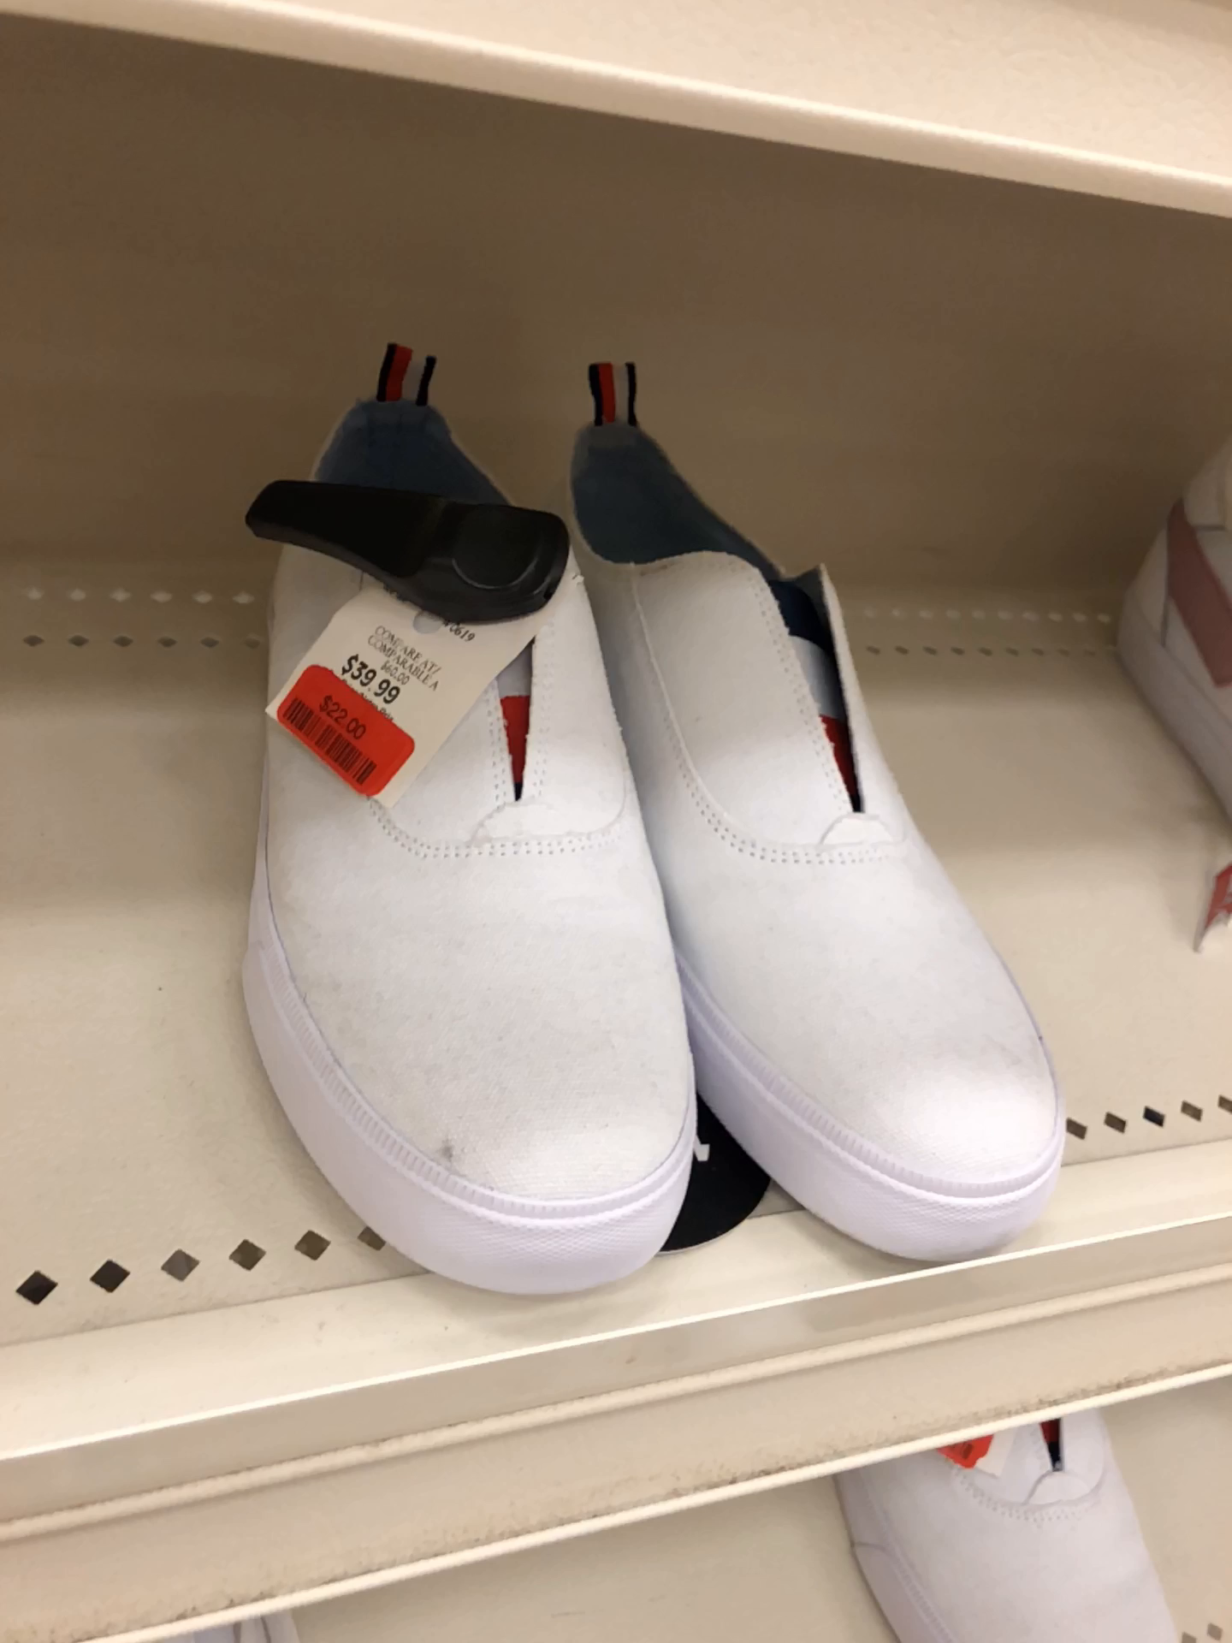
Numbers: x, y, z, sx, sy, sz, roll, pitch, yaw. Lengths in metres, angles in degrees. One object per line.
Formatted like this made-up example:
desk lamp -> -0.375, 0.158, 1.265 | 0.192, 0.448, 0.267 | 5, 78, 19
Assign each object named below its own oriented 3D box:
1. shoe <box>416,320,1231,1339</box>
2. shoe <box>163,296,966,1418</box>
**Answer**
shoe -> 0.029, -0.030, 0.381 | 0.100, 0.109, 0.302 | -2, 38, -21
shoe -> -0.046, -0.028, 0.325 | 0.100, 0.089, 0.292 | -2, 38, -21
